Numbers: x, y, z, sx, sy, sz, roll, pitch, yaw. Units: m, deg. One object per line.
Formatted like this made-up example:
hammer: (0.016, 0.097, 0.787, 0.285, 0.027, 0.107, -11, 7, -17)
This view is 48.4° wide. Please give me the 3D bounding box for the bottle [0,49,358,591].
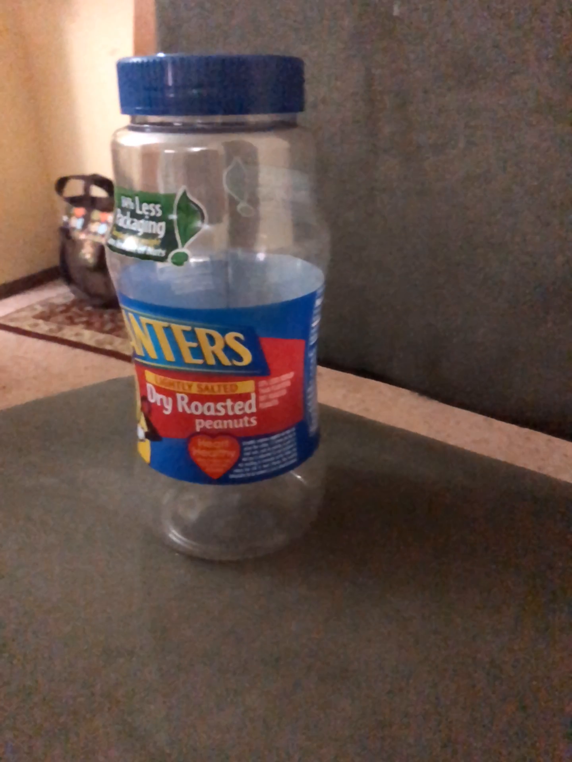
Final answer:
bottle: (-0.036, -0.028, 0.243, 0.090, 0.170, 0.080, 20, 32, 37)
